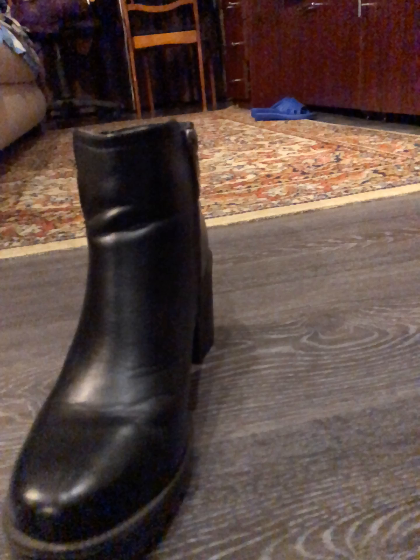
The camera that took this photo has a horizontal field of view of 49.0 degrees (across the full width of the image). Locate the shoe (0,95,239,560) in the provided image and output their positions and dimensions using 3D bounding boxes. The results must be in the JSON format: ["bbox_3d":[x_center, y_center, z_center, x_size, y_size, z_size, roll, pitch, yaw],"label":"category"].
[{"bbox_3d":[-0.052,0.004,0.258,0.090,0.179,0.241,0,24,13],"label":"shoe"}]
